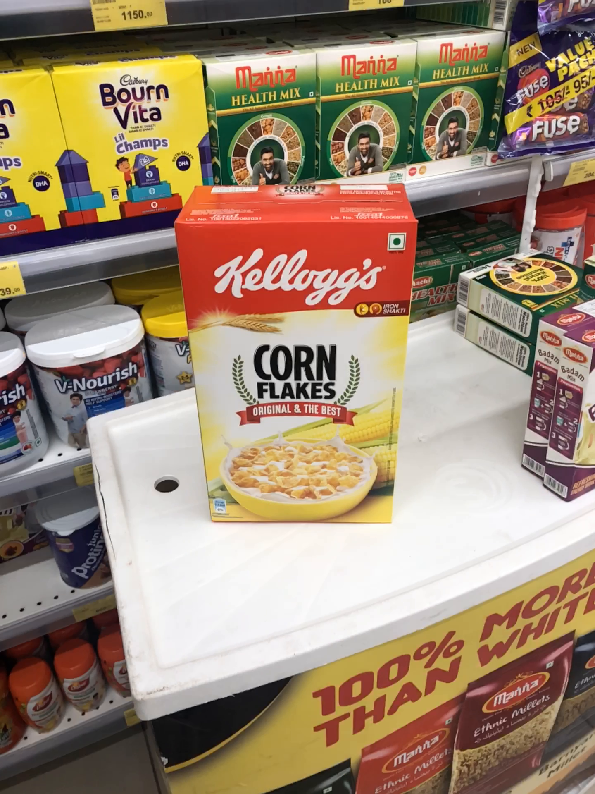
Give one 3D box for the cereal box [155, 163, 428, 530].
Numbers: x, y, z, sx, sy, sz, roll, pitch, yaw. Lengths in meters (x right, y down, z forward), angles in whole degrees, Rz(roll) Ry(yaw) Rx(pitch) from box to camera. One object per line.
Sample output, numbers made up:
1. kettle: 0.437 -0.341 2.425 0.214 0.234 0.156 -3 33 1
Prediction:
1. cereal box: 0.004 -0.034 0.619 0.200 0.329 0.110 0 35 4
